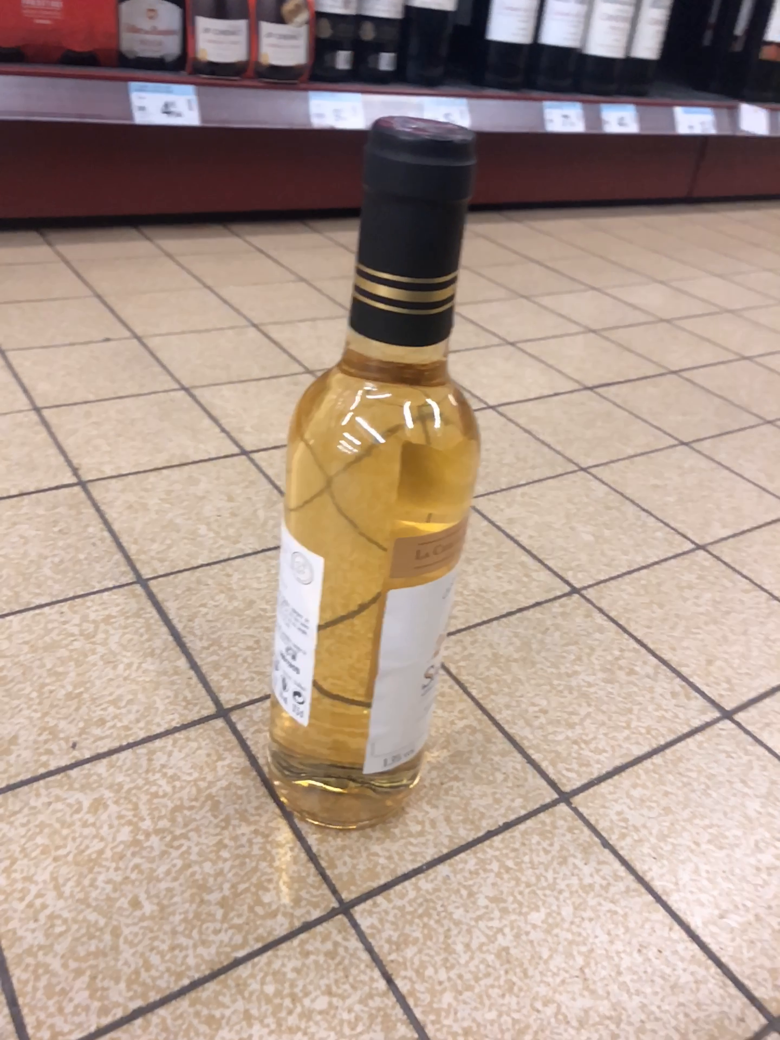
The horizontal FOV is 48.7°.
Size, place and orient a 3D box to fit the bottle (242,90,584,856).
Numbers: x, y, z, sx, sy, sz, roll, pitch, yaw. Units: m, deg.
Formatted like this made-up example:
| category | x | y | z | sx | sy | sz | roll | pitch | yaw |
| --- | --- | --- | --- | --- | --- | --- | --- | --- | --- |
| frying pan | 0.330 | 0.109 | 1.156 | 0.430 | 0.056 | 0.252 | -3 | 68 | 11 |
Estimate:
| category | x | y | z | sx | sy | sz | roll | pitch | yaw |
| --- | --- | --- | --- | --- | --- | --- | --- | --- | --- |
| bottle | -0.009 | 0.000 | 0.280 | 0.070 | 0.239 | 0.070 | 6 | 31 | -3 |
